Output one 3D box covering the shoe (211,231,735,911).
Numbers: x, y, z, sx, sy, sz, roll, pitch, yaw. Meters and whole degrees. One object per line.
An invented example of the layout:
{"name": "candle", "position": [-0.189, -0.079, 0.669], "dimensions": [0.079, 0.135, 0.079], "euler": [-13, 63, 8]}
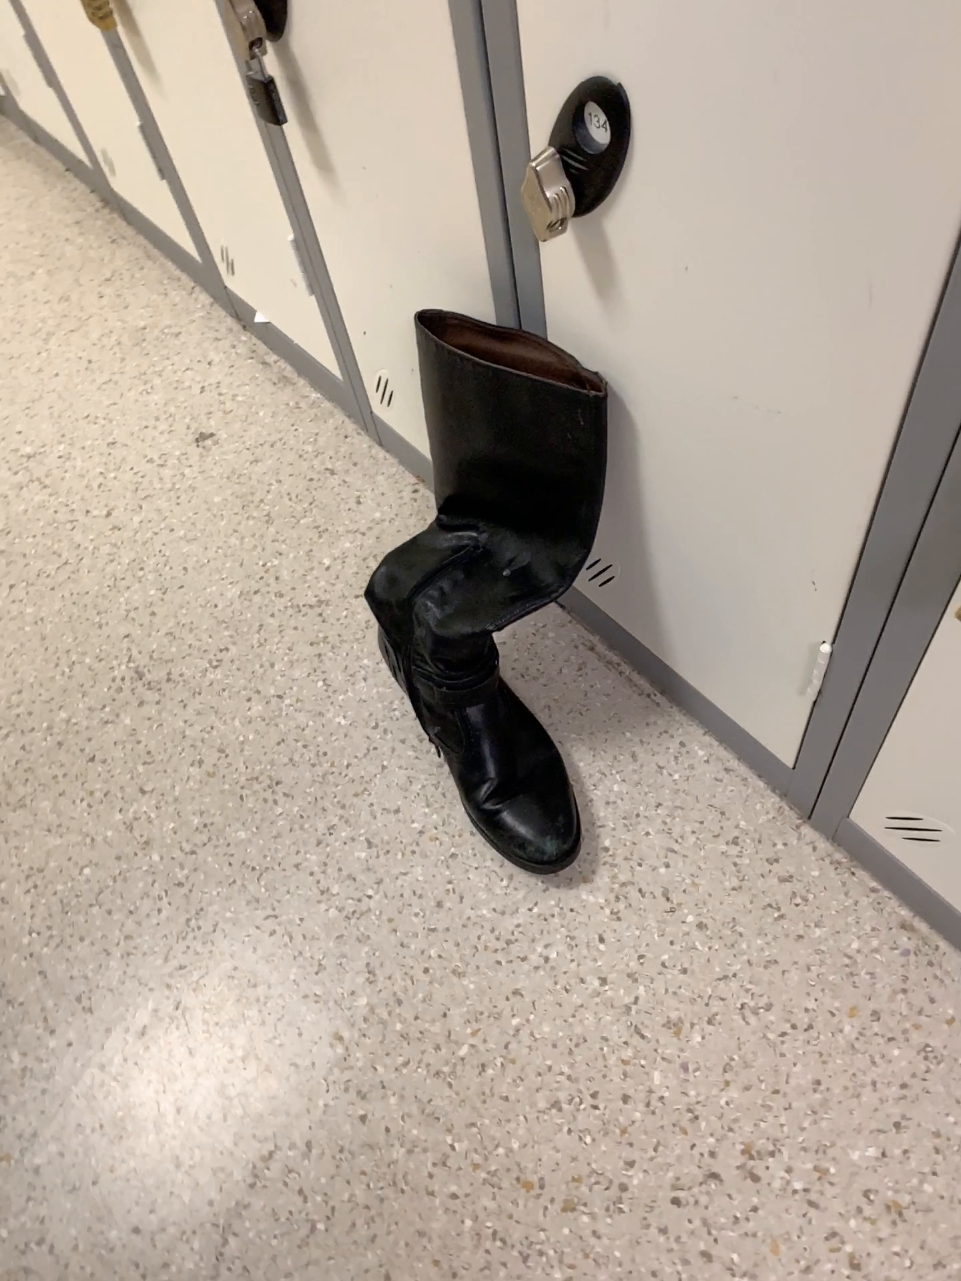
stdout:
{"name": "shoe", "position": [-0.004, -0.038, 0.696], "dimensions": [0.168, 0.331, 0.315], "euler": [-29, 57, -12]}
